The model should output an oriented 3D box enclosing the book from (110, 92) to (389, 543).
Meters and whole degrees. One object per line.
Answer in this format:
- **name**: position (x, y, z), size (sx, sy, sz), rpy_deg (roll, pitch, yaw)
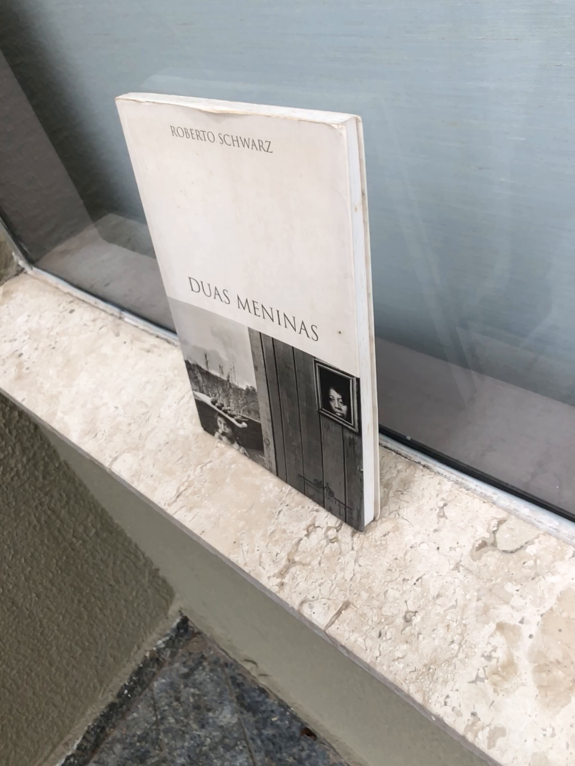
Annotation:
- **book**: position (-0.014, -0.028, 0.316), size (0.016, 0.204, 0.140), rpy_deg (-35, 43, -30)
